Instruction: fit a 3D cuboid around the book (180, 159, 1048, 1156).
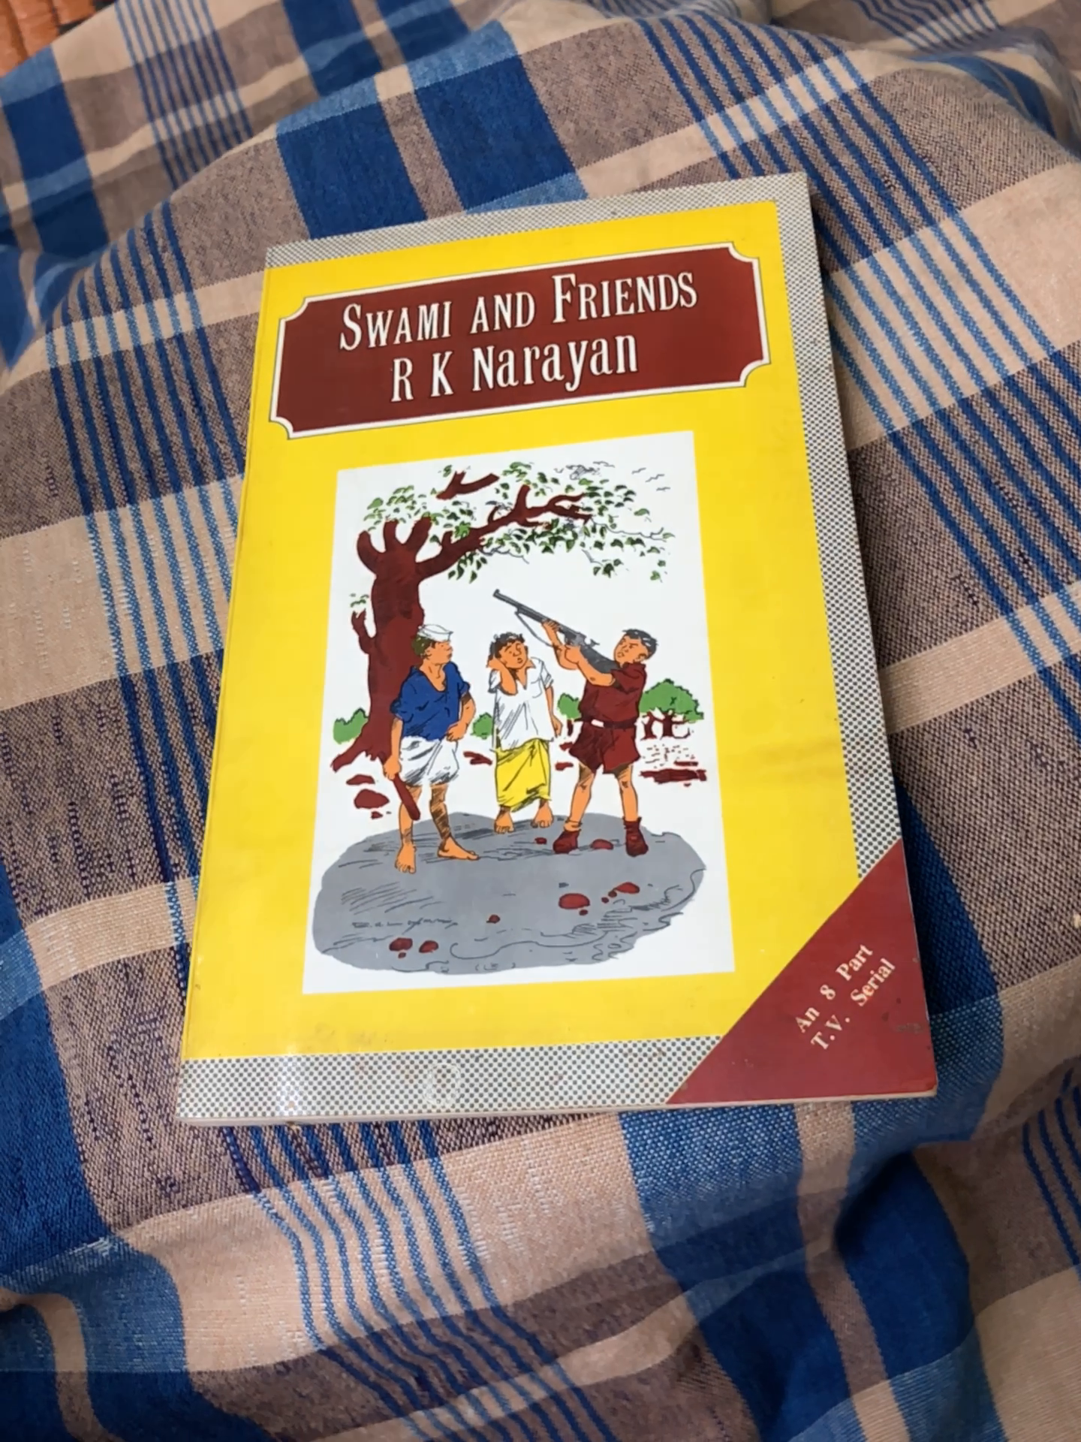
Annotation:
[{"bbox_3d":[0.009,-0.021,0.230,0.130,0.020,0.190,-5,65,9],"label":"book"}]
